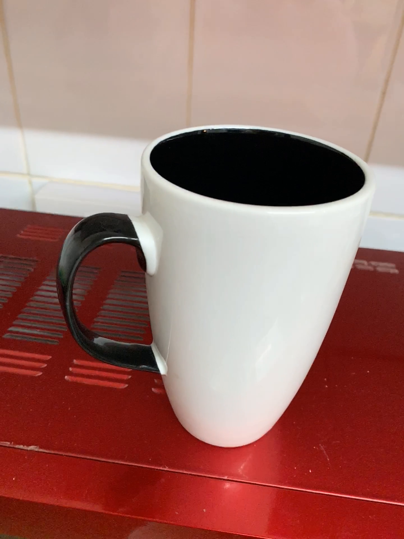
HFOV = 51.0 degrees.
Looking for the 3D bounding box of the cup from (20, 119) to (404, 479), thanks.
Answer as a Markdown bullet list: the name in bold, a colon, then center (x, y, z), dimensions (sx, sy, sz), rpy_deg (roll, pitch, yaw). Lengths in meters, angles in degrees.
- **cup**: center (0.003, 0.008, 0.198), dimensions (0.130, 0.129, 0.091), rpy_deg (-3, 34, -11)
